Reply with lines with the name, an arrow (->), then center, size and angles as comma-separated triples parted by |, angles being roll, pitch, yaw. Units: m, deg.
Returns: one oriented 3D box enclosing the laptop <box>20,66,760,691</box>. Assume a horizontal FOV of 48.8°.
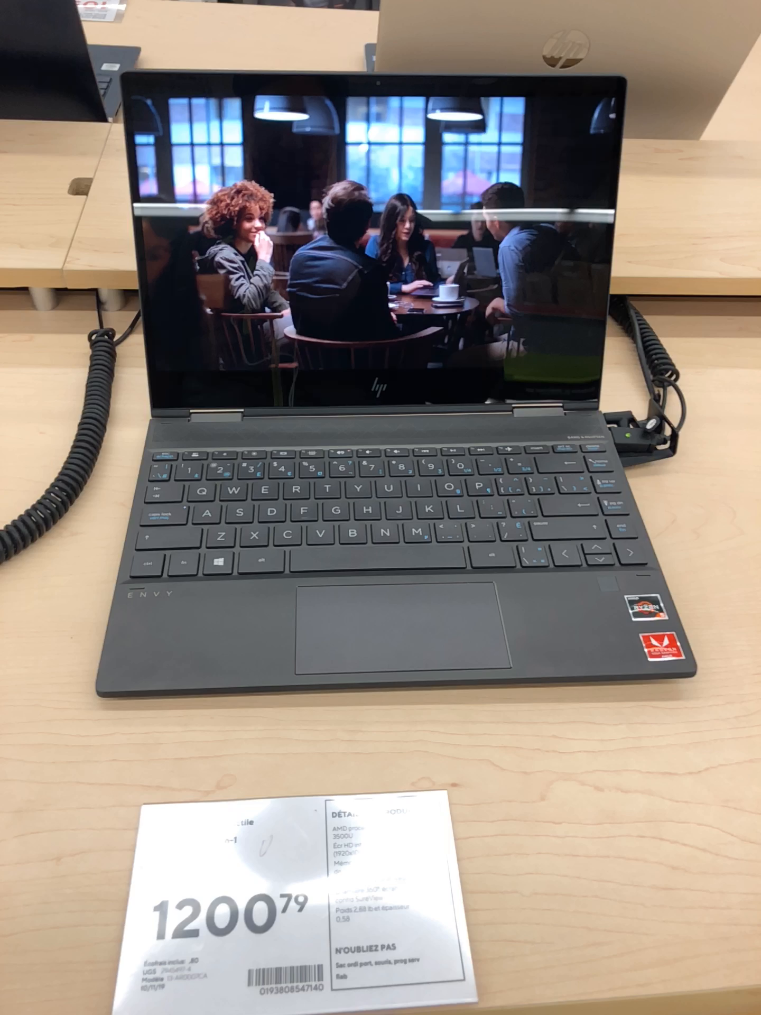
laptop -> 0.008, -0.082, 0.453 | 0.294, 0.182, 0.289 | -1, 47, -6
